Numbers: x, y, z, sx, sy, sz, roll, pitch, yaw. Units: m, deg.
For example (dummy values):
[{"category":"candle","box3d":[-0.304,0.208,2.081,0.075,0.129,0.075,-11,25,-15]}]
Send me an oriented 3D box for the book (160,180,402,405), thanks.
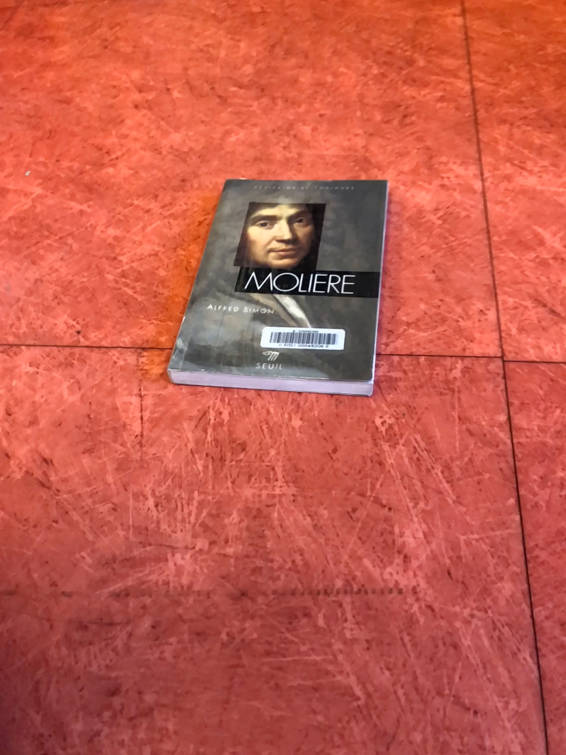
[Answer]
[{"category":"book","box3d":[0.008,-0.067,0.411,0.134,0.015,0.184,3,55,9]}]
